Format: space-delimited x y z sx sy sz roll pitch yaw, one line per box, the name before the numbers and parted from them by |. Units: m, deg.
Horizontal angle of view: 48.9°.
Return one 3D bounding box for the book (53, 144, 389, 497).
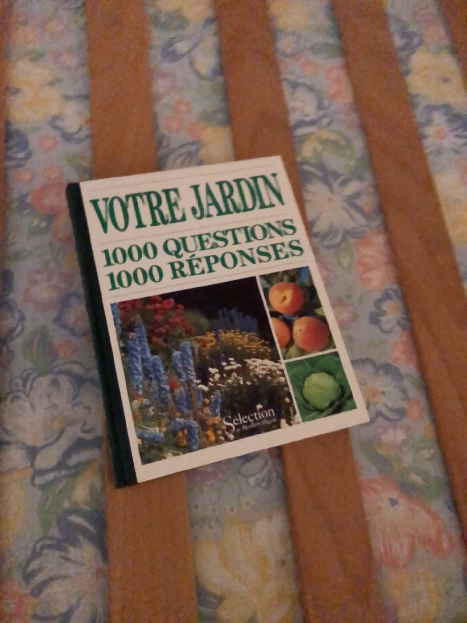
book | -0.020 -0.007 0.450 0.220 0.050 0.270 -12 70 -13
